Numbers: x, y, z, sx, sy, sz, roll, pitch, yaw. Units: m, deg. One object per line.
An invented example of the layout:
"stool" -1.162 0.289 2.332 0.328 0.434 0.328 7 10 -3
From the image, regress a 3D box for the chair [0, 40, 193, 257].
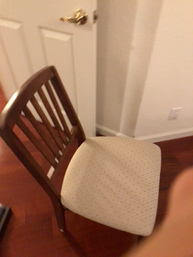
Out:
"chair" 0.029 0.196 0.938 0.560 0.924 0.503 12 49 13
